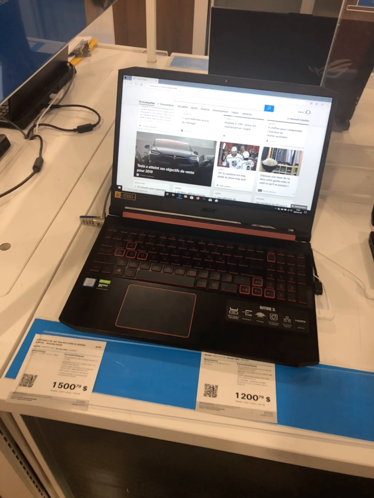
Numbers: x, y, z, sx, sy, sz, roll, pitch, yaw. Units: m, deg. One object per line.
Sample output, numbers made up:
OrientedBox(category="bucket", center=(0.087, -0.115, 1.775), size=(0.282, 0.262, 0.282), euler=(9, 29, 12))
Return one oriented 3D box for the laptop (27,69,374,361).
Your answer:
OrientedBox(category="laptop", center=(0.032, -0.076, 0.616), size=(0.357, 0.211, 0.360), euler=(8, 45, 5))
